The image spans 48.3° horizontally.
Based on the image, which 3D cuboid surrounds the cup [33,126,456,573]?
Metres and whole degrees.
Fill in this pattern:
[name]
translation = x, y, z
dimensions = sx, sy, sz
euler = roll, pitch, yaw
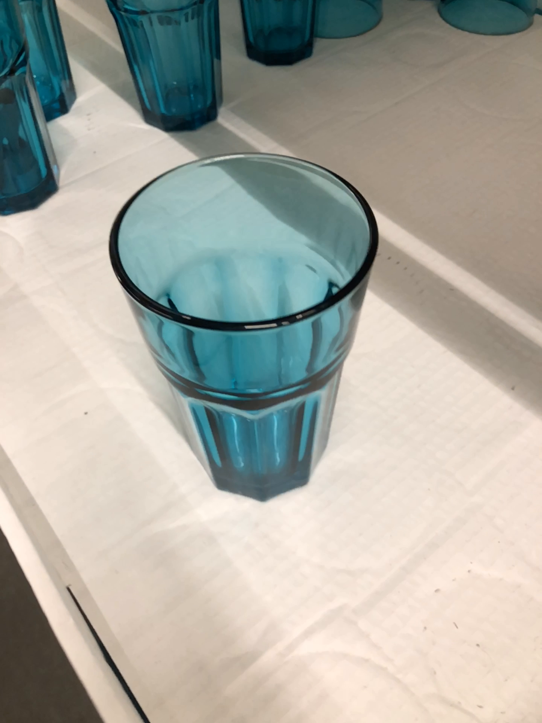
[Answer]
[cup]
translation = -0.010, -0.002, 0.217
dimensions = 0.092, 0.102, 0.089
euler = -1, 54, 2
